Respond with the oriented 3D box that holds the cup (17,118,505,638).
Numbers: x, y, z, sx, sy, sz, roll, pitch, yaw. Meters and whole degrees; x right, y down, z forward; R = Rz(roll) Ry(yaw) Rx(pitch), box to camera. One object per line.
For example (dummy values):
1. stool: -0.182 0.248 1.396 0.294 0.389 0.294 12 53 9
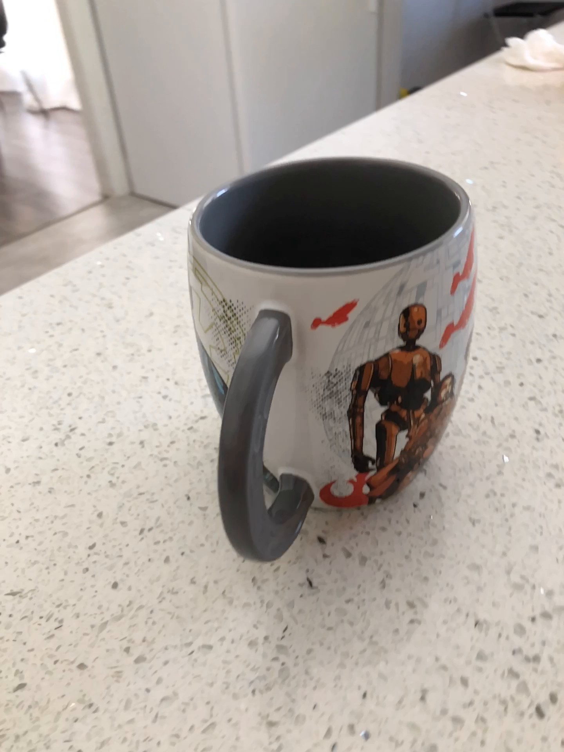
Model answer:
1. cup: 0.012 -0.015 0.215 0.100 0.100 0.140 9 39 18
